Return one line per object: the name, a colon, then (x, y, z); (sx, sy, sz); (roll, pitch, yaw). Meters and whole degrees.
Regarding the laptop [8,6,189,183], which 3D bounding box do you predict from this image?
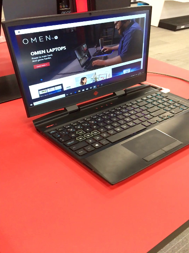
laptop: (0.092, -0.102, 0.537); (0.372, 0.220, 0.296); (-25, 48, -30)
